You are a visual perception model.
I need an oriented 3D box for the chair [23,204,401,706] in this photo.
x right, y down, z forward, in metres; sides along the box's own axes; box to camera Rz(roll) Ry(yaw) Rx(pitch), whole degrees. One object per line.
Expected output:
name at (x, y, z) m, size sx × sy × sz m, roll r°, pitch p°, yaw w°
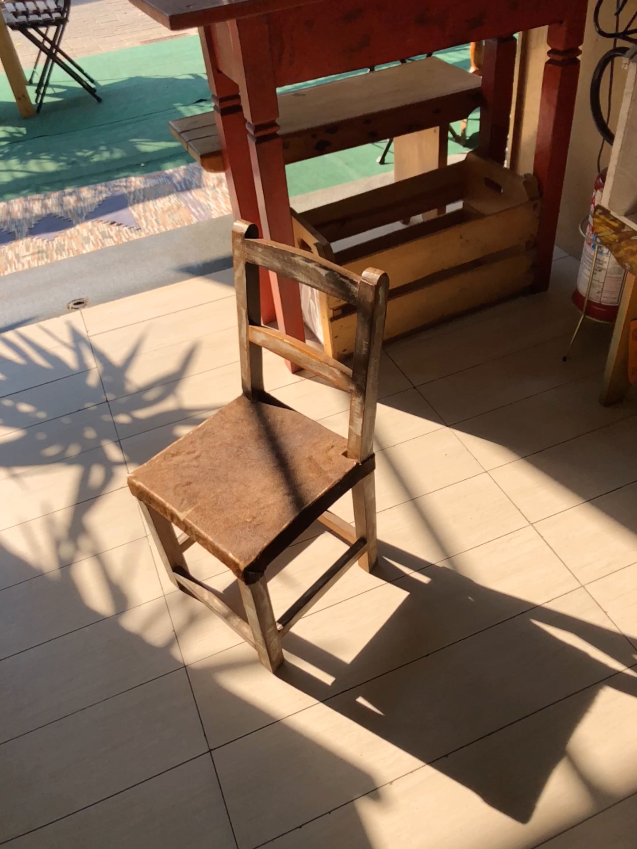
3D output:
chair at (-0.104, 0.055, 1.040) m, size 0.301 × 0.596 × 0.341 m, roll 30°, pitch 53°, yaw 34°
